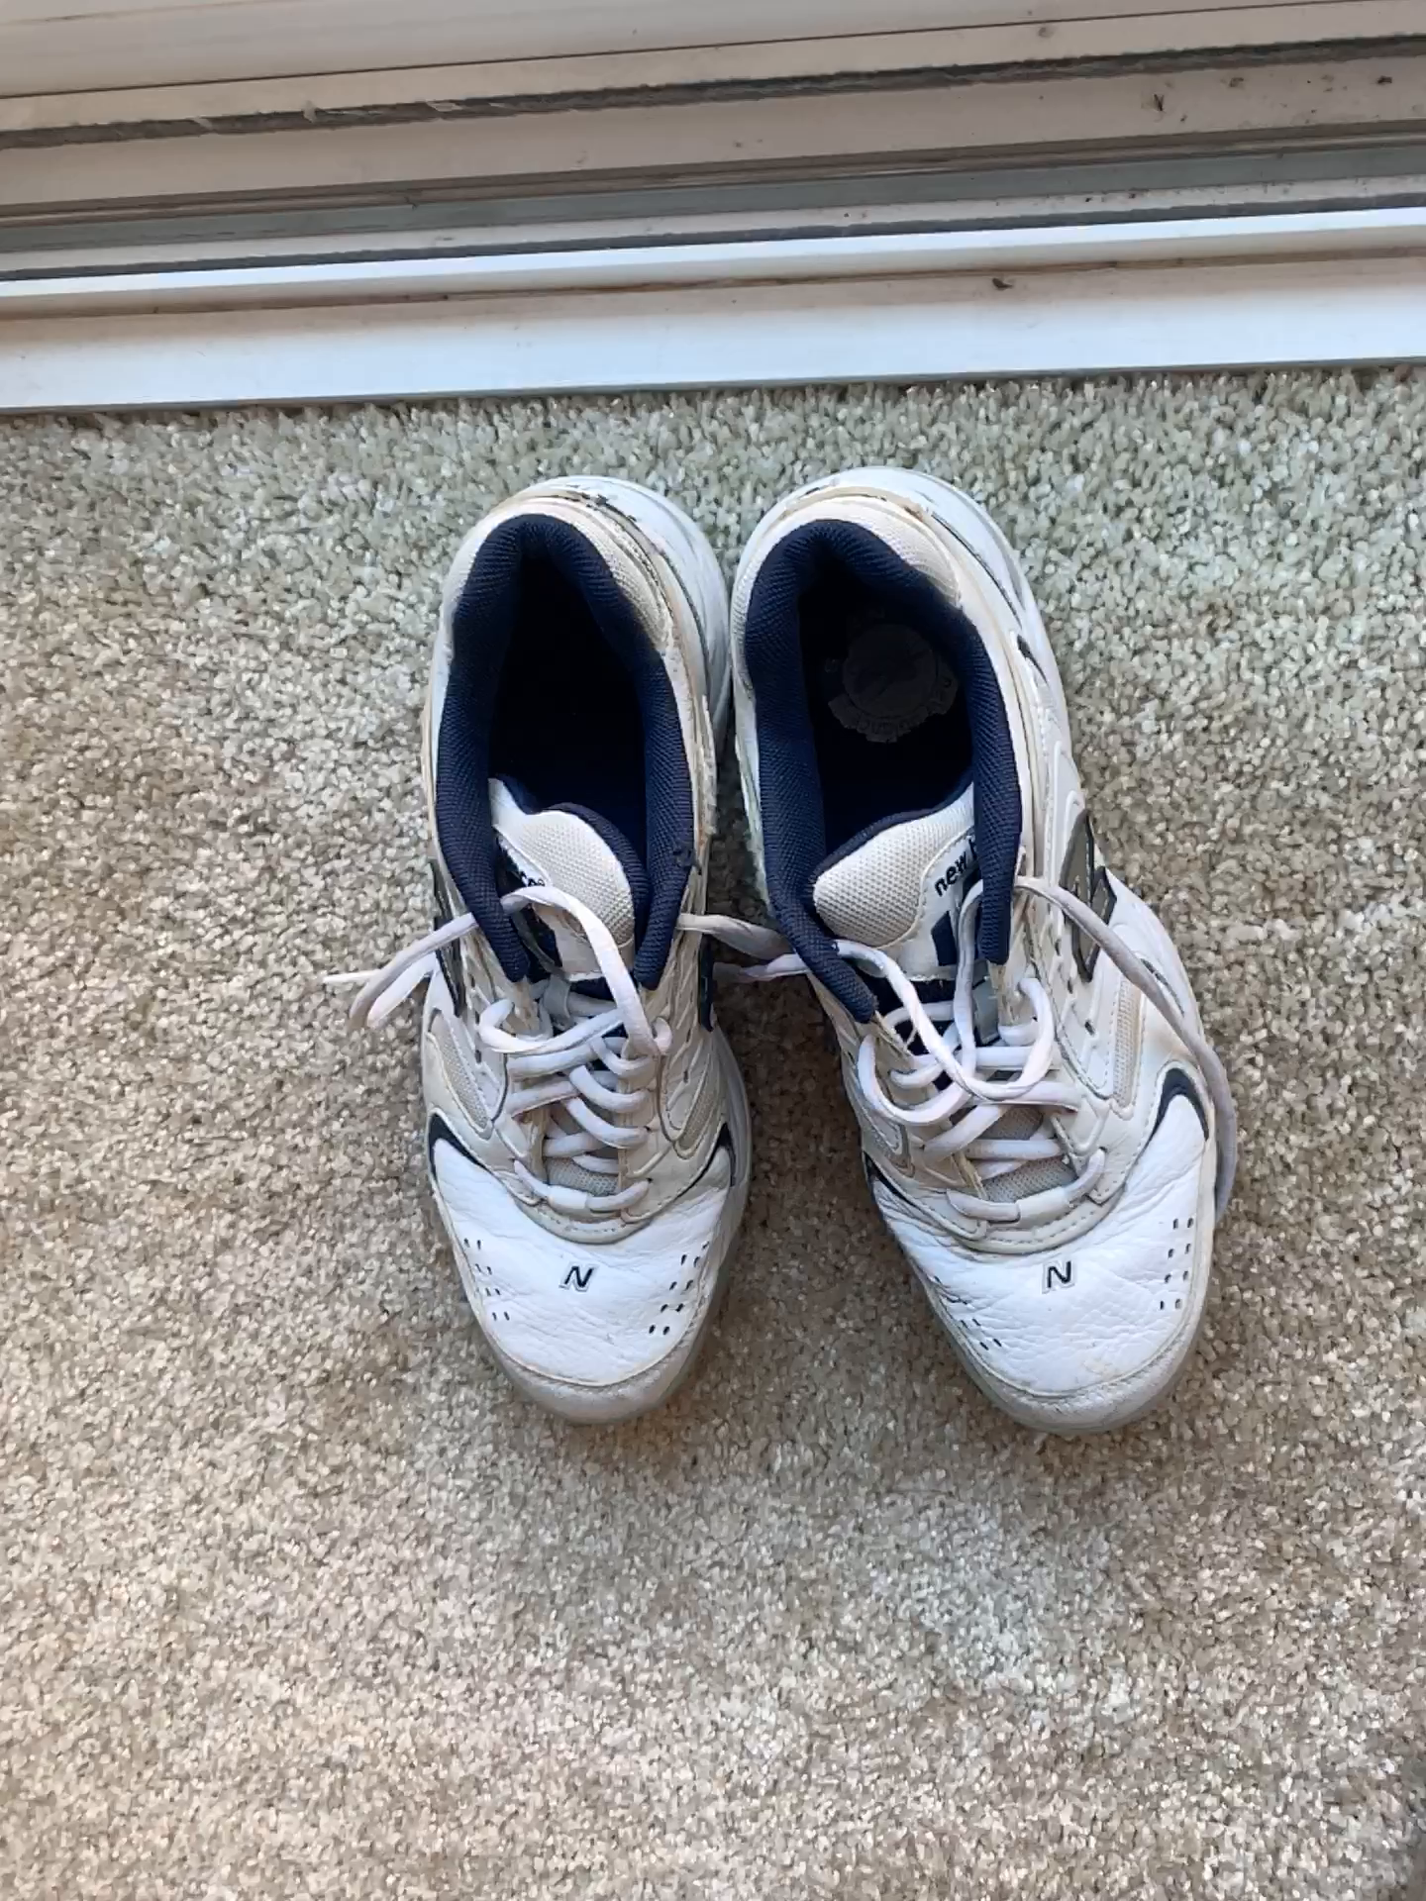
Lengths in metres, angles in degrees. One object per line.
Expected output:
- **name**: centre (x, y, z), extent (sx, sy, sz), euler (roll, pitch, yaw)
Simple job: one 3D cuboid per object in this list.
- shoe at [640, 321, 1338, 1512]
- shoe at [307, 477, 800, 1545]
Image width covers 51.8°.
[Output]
- **shoe**: centre (0.079, -0.006, 0.417), extent (0.110, 0.110, 0.280), euler (-13, 98, 11)
- **shoe**: centre (-0.038, 0.013, 0.420), extent (0.110, 0.100, 0.270), euler (2, 100, 9)
